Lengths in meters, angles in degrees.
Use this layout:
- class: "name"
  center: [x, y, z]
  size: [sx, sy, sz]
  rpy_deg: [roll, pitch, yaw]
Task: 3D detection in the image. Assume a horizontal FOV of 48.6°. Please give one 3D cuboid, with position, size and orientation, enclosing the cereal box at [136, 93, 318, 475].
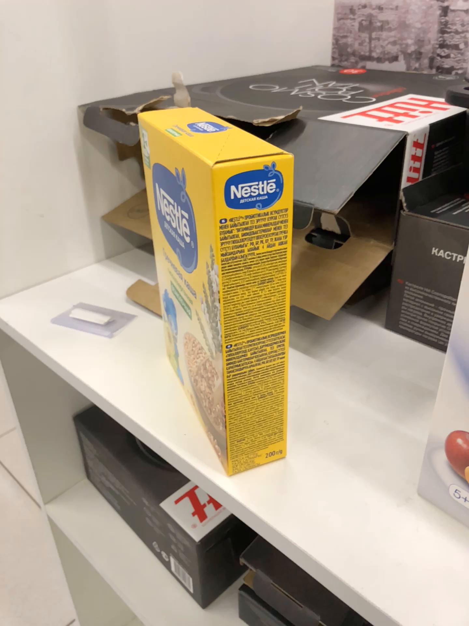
- class: "cereal box"
  center: [-0.011, -0.026, 0.341]
  size: [0.050, 0.199, 0.151]
  rpy_deg: [-12, 32, -19]
